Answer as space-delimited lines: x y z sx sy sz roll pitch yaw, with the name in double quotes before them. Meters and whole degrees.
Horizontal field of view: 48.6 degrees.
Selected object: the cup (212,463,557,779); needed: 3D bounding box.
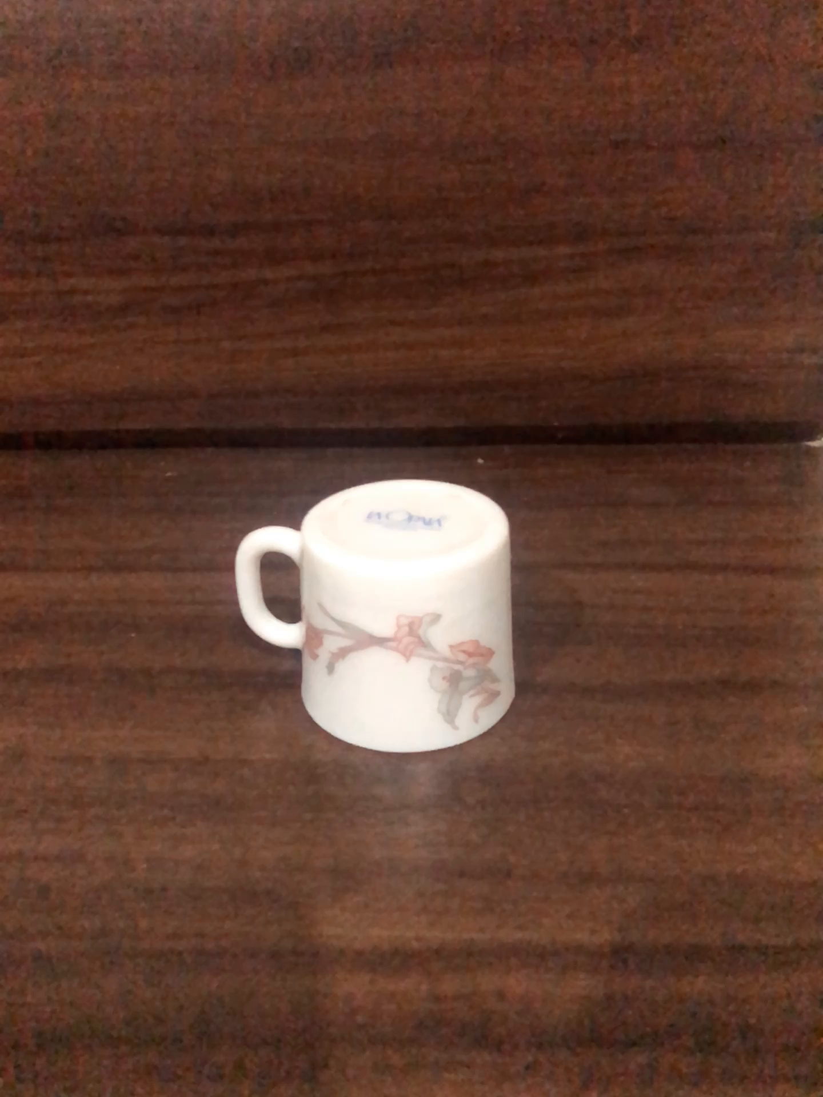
"cup" -0.003 0.020 0.282 0.090 0.070 0.060 3 31 10
